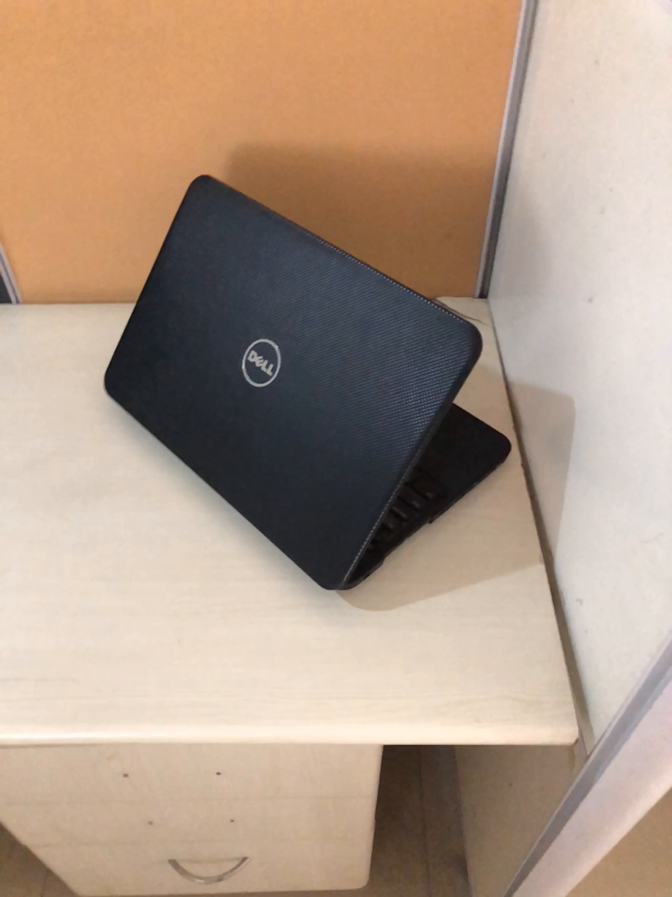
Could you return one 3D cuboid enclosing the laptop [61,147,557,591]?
[{"bbox_3d":[-0.028,-0.100,0.700,0.255,0.179,0.353,-35,58,-30],"label":"laptop"}]
